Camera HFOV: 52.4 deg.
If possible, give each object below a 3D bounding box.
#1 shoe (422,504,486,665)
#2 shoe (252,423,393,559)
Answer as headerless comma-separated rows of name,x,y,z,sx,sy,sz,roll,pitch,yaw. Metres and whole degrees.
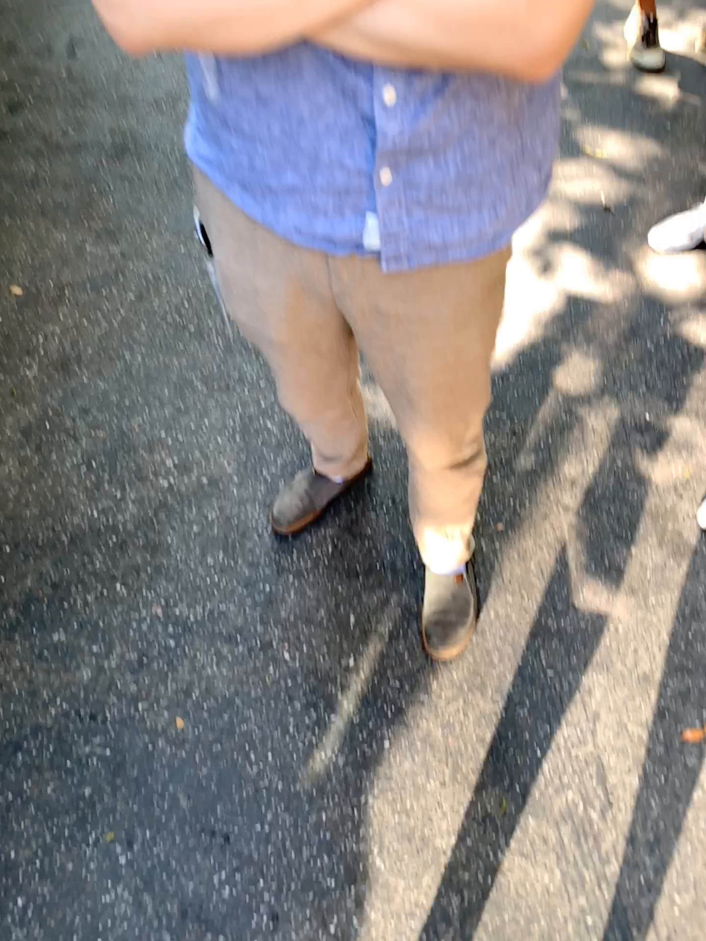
shoe,0.203,0.229,1.482,0.120,0.080,0.321,1,58,5
shoe,-0.063,0.041,1.611,0.120,0.060,0.320,38,68,24
